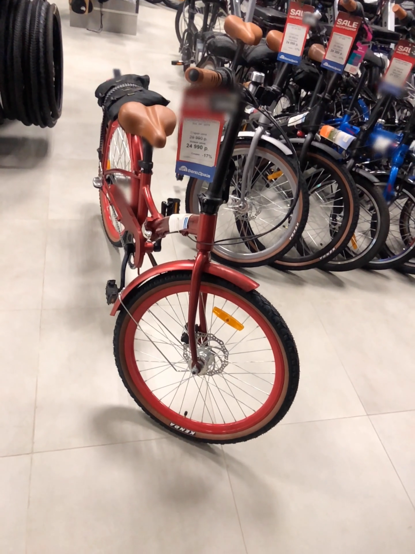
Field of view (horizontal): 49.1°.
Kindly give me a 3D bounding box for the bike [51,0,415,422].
[{"bbox_3d":[-0.063,-0.416,1.674,0.517,1.111,1.498,-14,44,-29],"label":"bike"}]
